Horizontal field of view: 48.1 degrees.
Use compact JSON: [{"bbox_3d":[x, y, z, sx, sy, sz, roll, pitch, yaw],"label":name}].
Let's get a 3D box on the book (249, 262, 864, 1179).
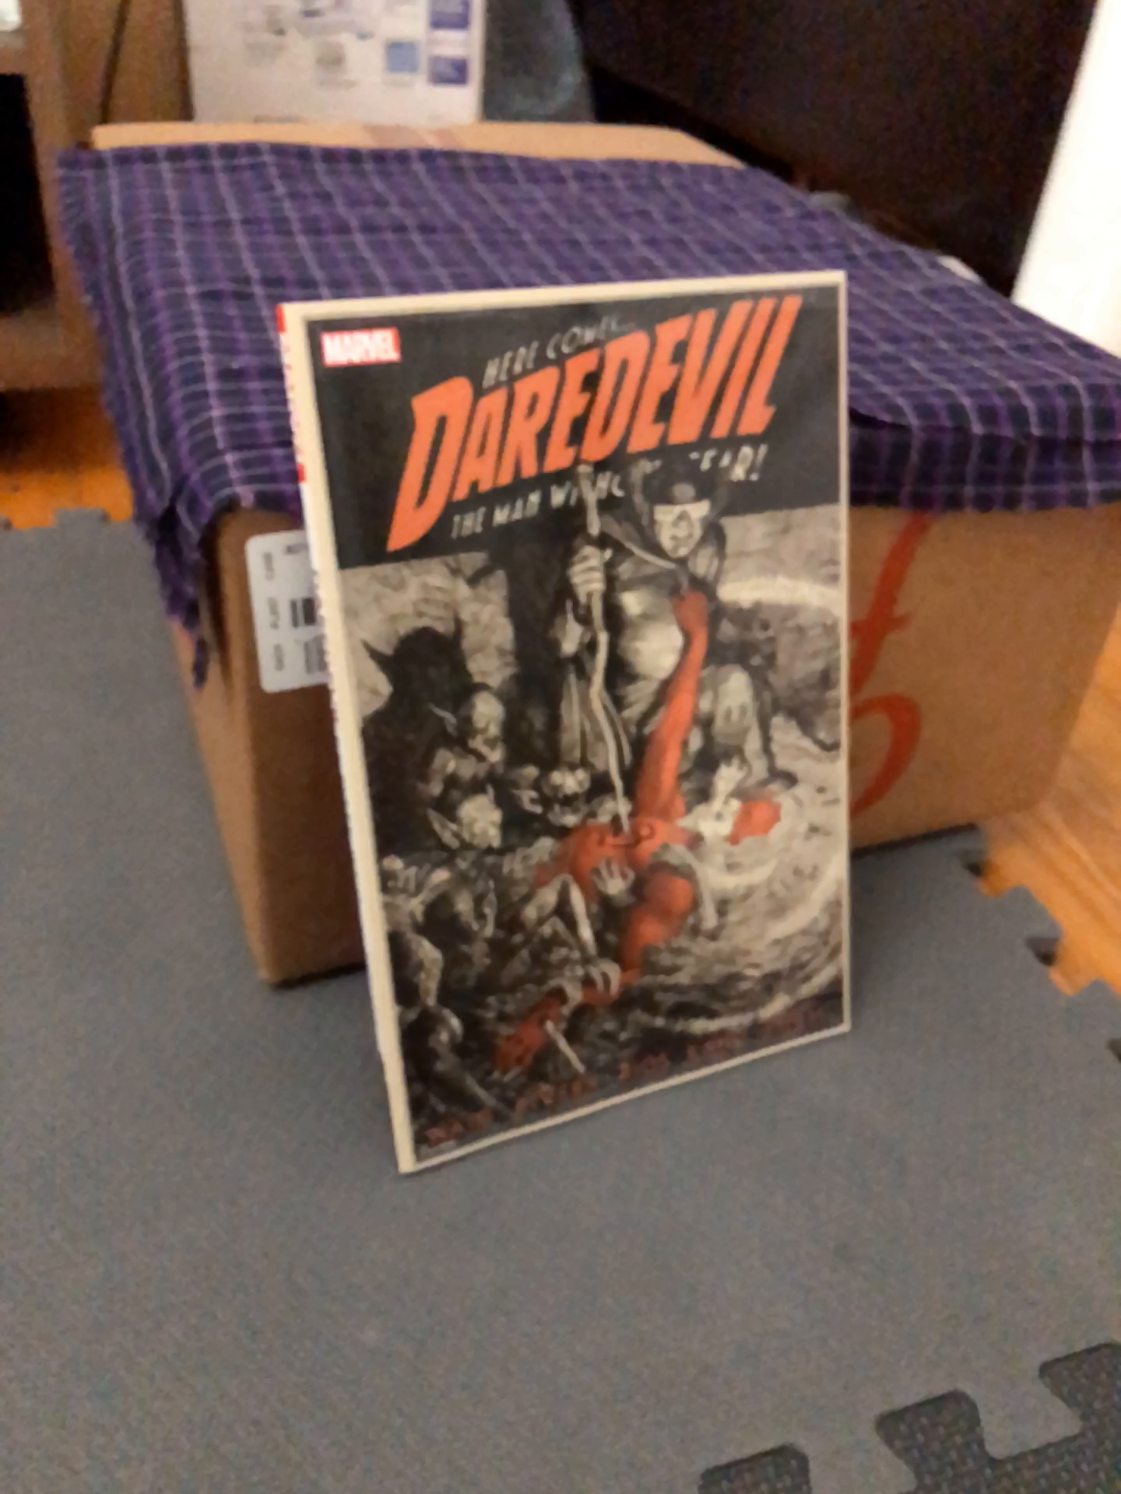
[{"bbox_3d":[0.012,-0.009,0.349,0.160,0.229,0.020,-11,18,-22],"label":"book"}]
